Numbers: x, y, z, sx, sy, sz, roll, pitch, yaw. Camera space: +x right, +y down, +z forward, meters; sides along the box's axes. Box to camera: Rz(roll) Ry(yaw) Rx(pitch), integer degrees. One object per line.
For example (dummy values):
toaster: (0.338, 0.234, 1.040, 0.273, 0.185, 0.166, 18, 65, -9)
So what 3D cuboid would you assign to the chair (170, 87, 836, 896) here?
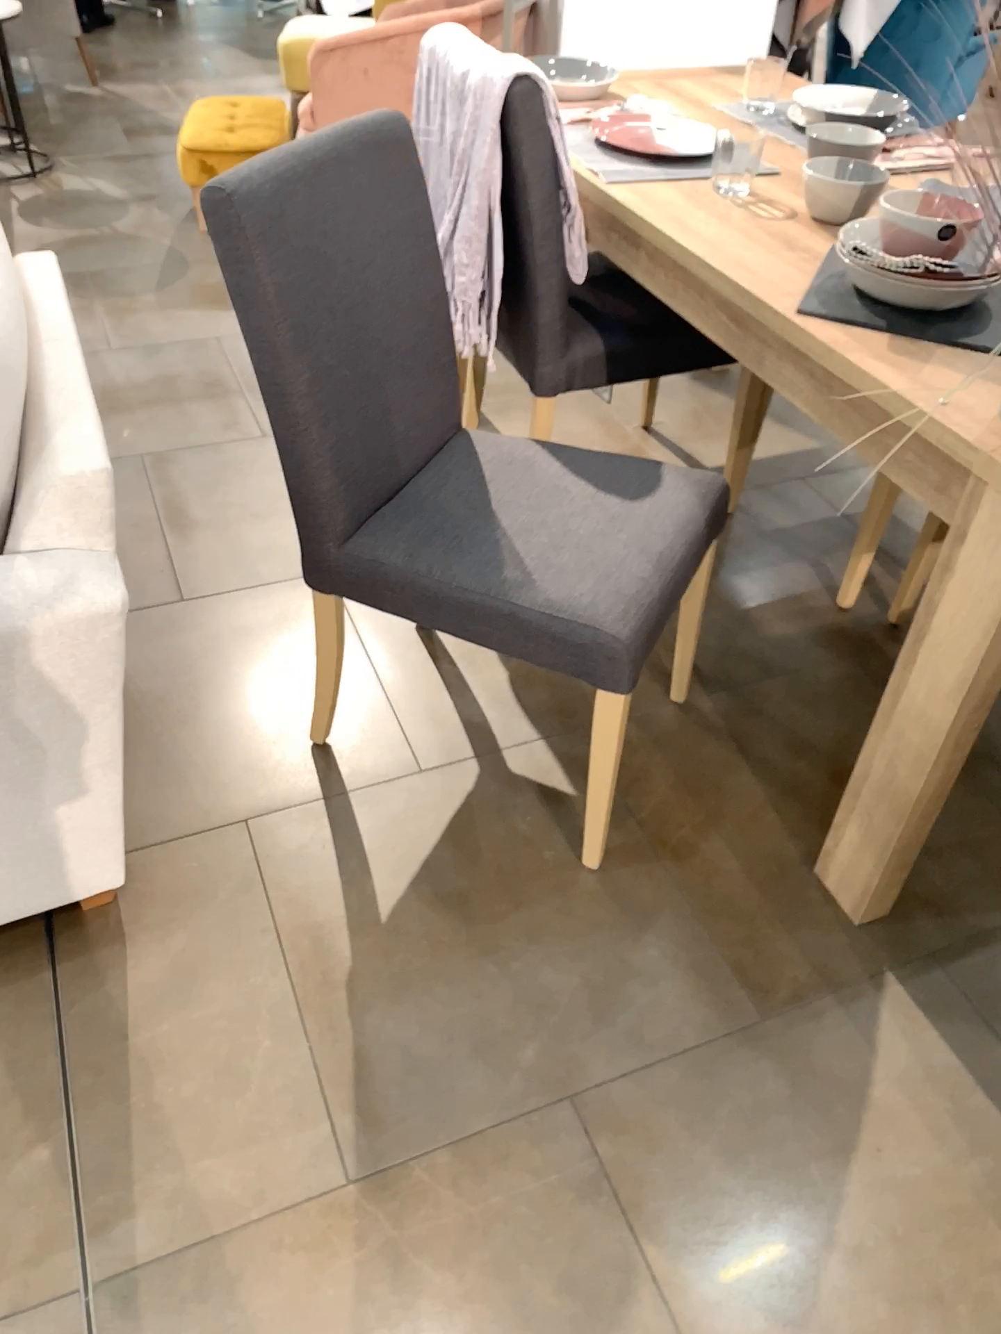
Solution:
chair: (0.005, -0.247, 1.490, 0.615, 0.889, 0.510, 21, 44, 19)
